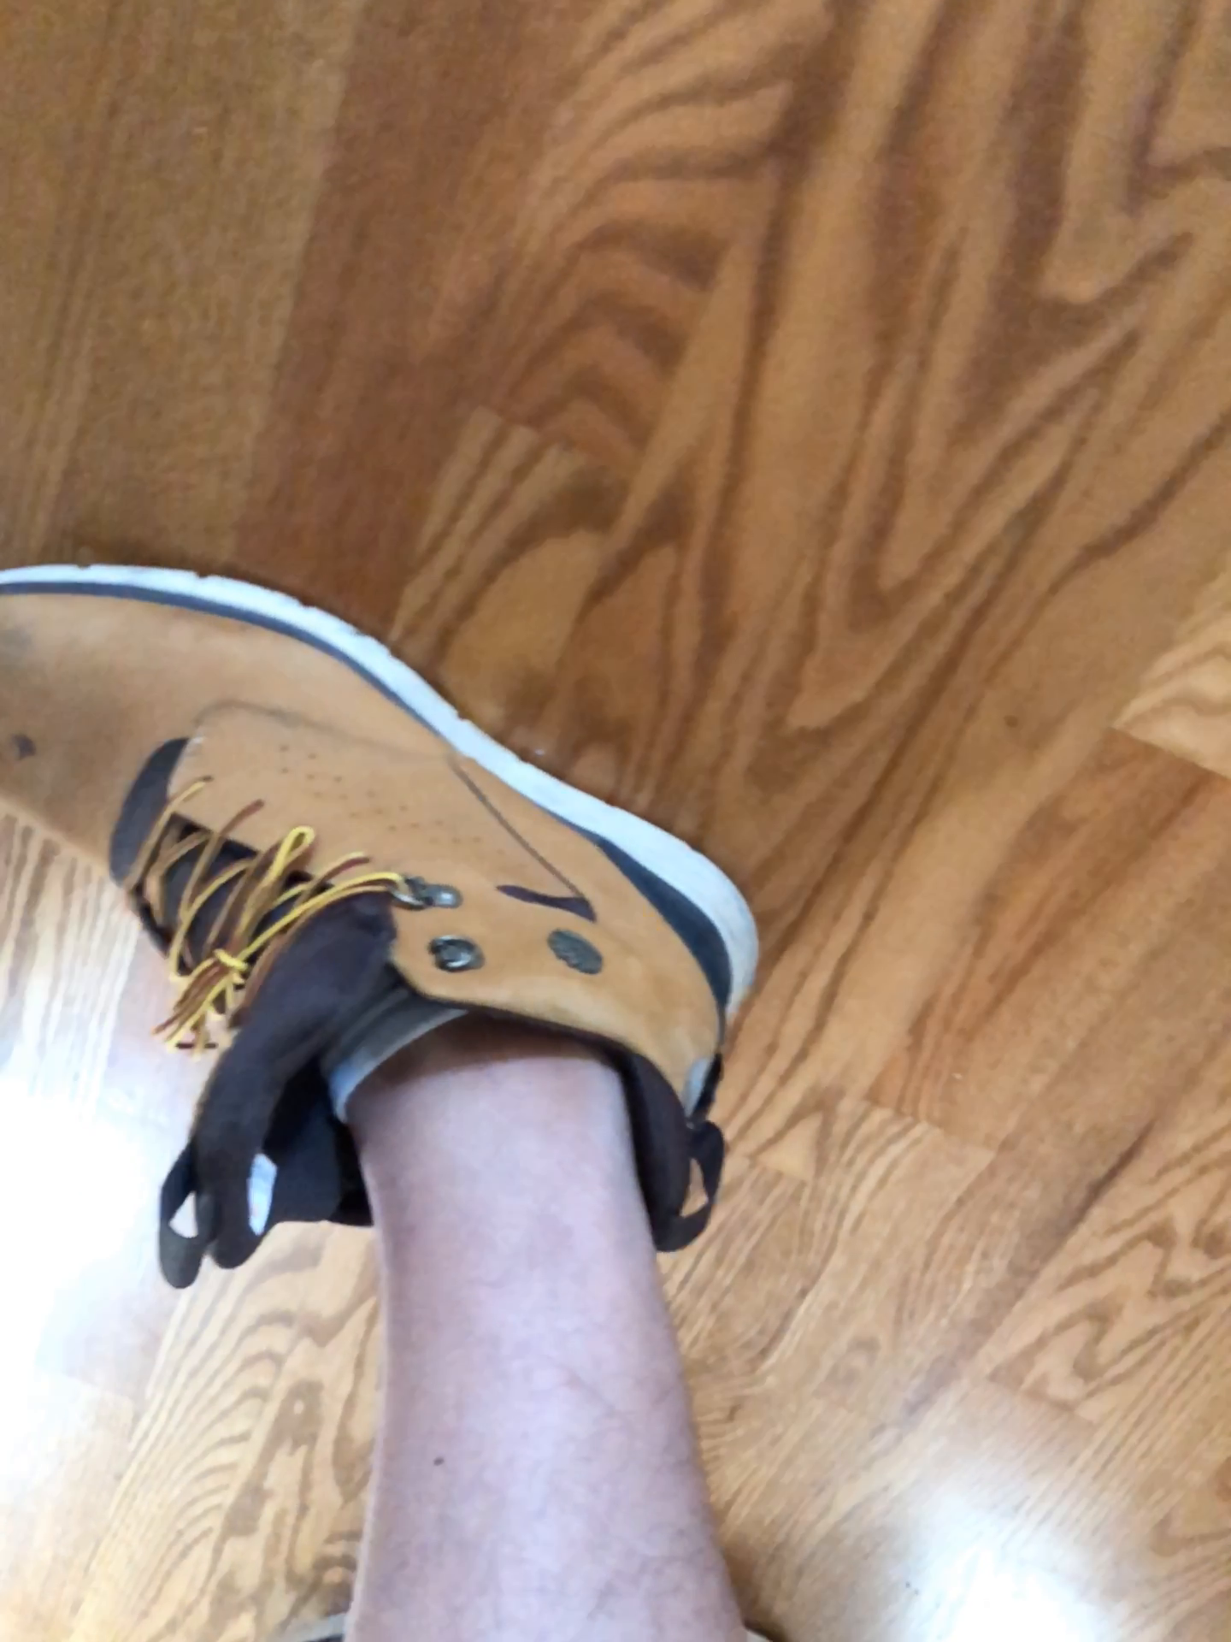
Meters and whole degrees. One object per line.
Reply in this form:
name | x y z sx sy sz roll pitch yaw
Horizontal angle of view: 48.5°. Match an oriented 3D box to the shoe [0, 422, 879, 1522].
shoe | -0.094 0.028 0.405 0.310 0.169 0.120 29 120 -1
